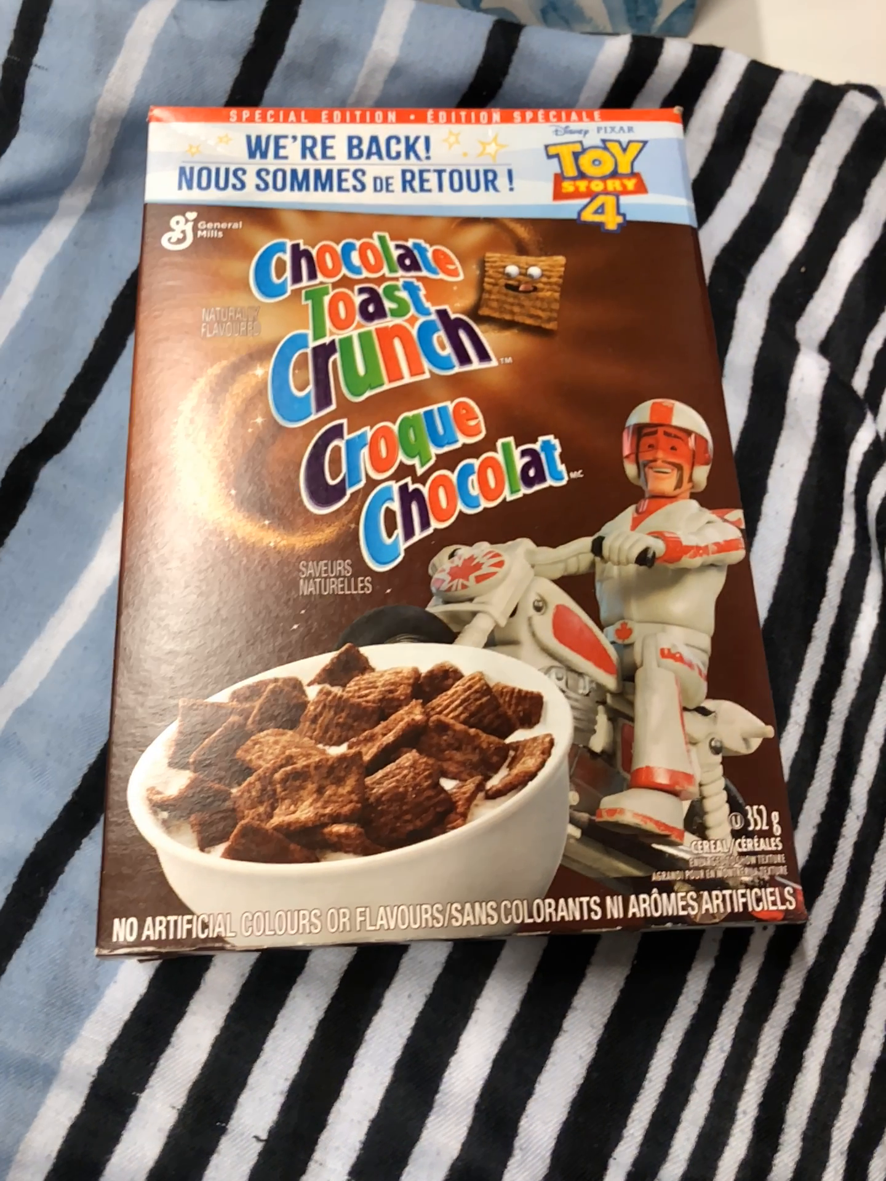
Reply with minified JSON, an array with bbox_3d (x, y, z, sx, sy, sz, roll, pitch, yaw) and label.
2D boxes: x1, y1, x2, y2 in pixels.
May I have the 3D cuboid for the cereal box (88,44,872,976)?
[{"bbox_3d":[0.003,-0.039,0.335,0.210,0.060,0.300,-2,73,-5],"label":"cereal box"}]
